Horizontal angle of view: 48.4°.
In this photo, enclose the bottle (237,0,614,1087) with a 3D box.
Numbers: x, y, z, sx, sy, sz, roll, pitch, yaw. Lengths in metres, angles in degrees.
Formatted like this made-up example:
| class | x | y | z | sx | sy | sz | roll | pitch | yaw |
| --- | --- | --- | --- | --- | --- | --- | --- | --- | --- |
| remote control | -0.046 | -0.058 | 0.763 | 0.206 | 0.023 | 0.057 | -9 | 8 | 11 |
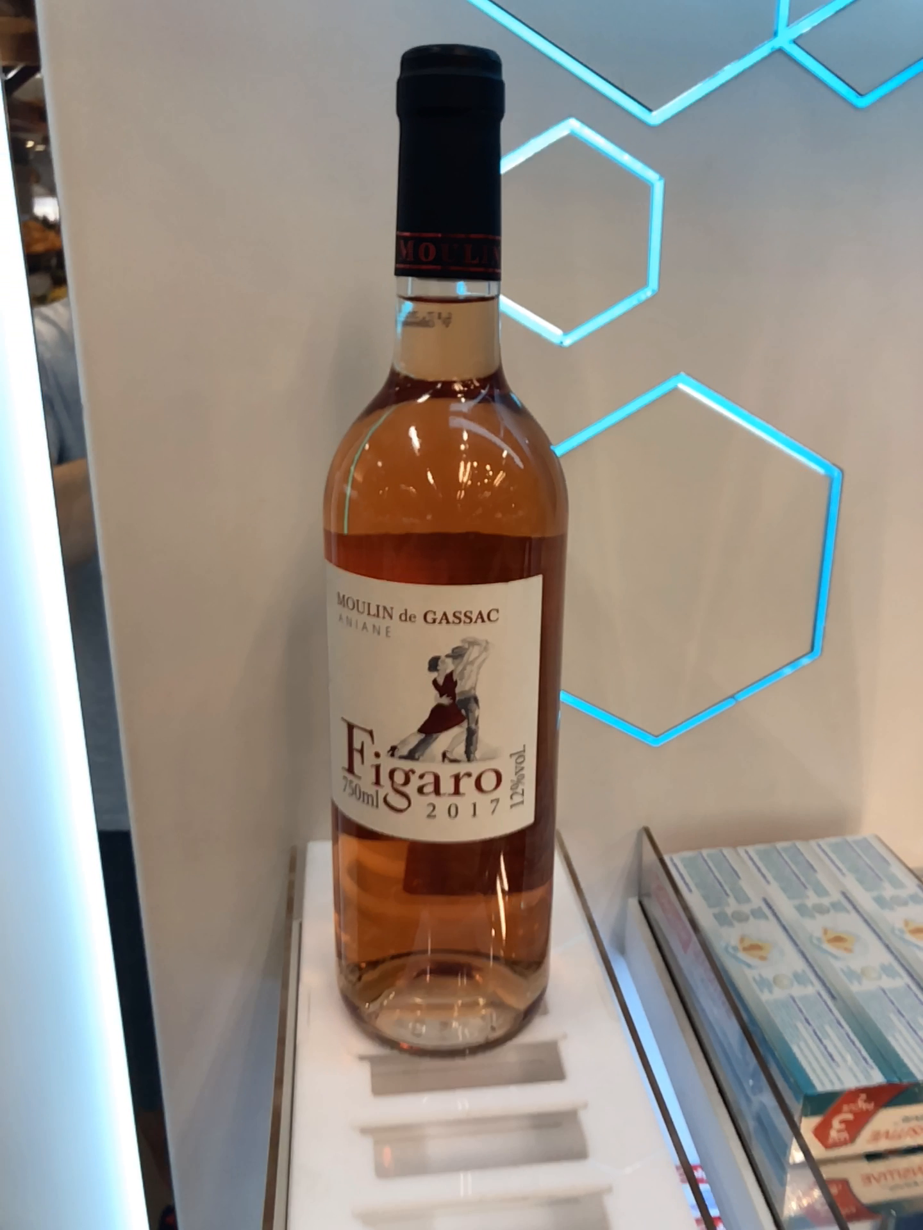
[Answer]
| class | x | y | z | sx | sy | sz | roll | pitch | yaw |
| --- | --- | --- | --- | --- | --- | --- | --- | --- | --- |
| bottle | -0.006 | -0.013 | 0.337 | 0.090 | 0.318 | 0.080 | 4 | 17 | 12 |
